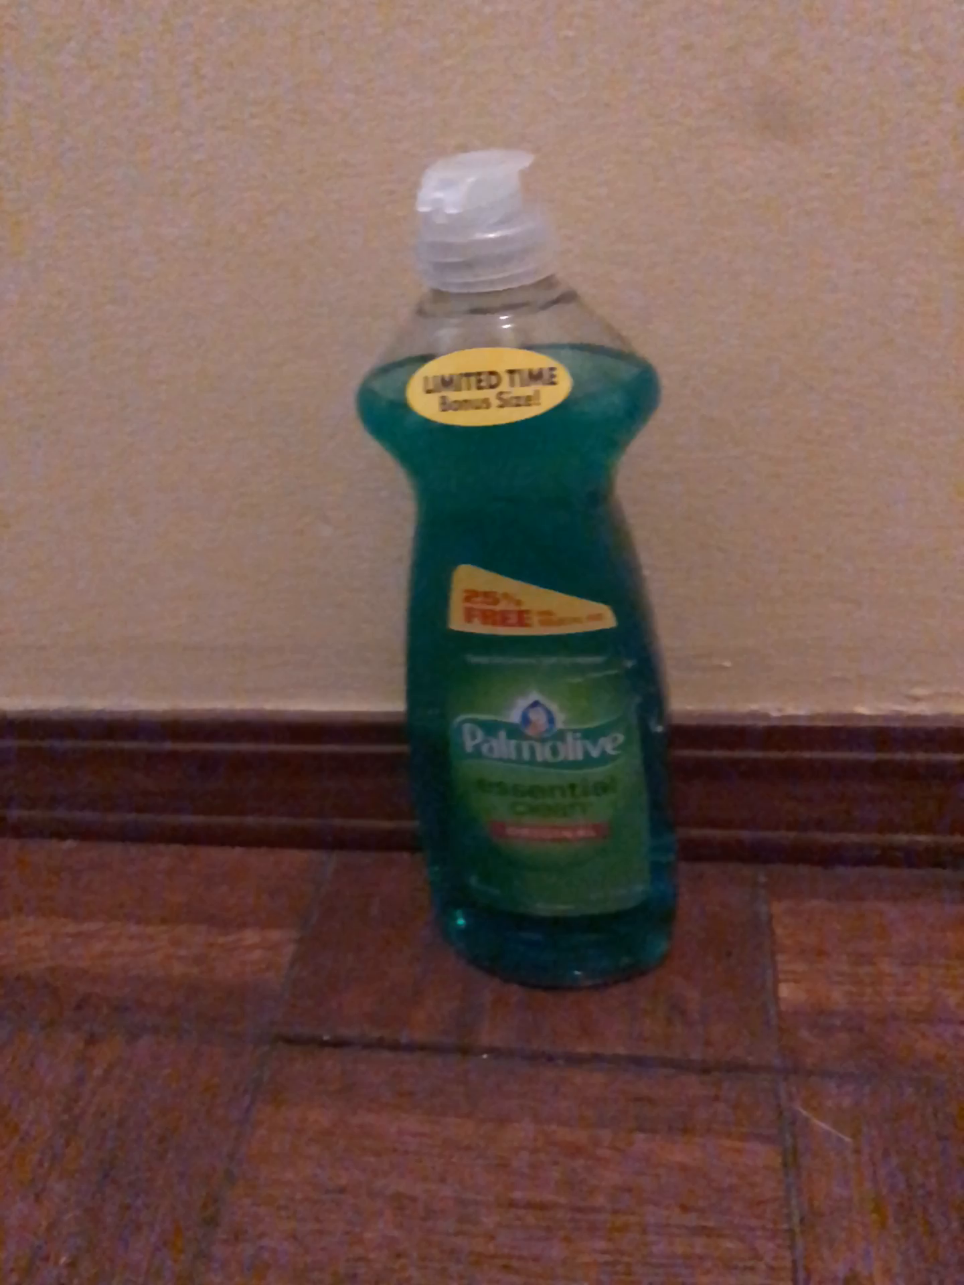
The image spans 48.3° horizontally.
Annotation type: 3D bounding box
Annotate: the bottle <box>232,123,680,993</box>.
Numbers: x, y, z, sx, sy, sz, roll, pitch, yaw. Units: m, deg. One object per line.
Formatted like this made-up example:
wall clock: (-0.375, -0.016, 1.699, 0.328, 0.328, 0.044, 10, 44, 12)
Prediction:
bottle: (0.009, -0.003, 0.283, 0.080, 0.229, 0.050, -2, 35, 10)
